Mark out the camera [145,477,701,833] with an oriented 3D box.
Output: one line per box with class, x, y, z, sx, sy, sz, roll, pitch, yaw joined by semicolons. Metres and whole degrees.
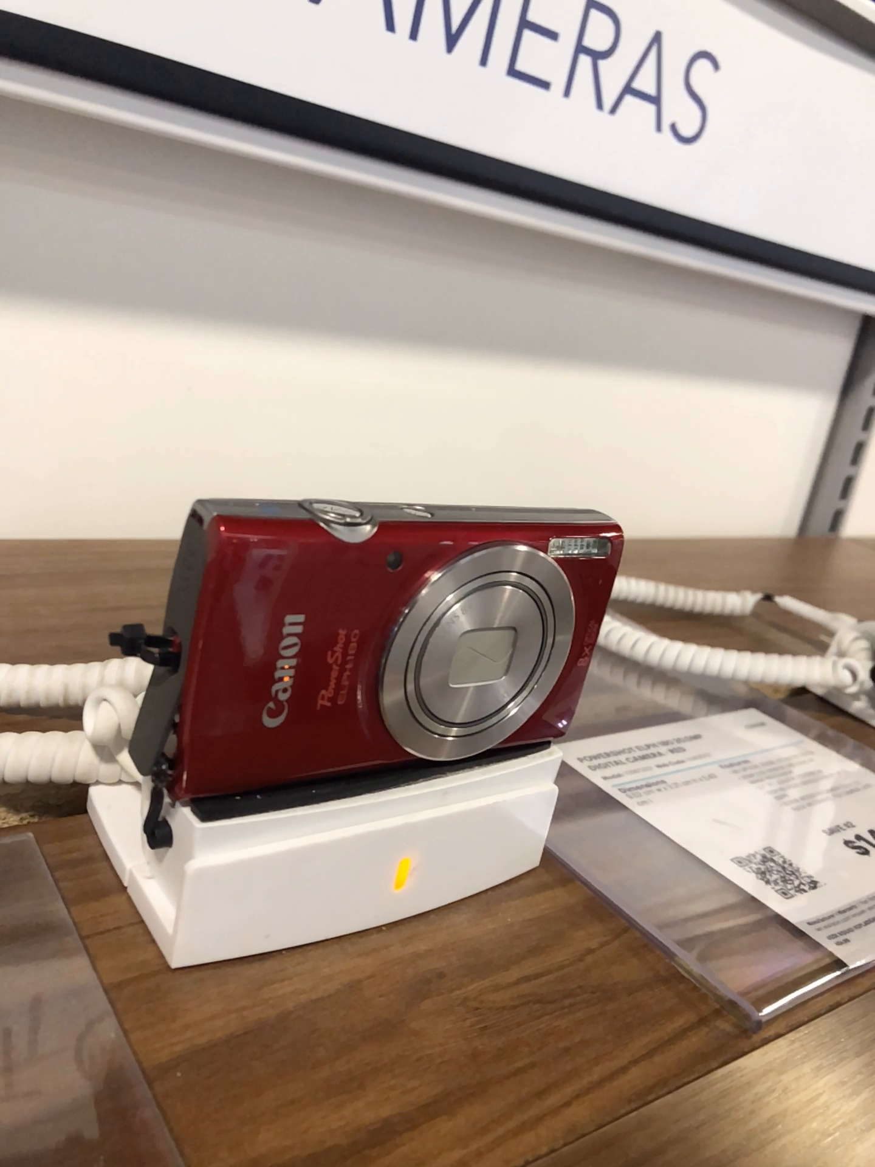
camera;0.000;0.010;0.188;0.100;0.050;0.030;-1;20;-36
